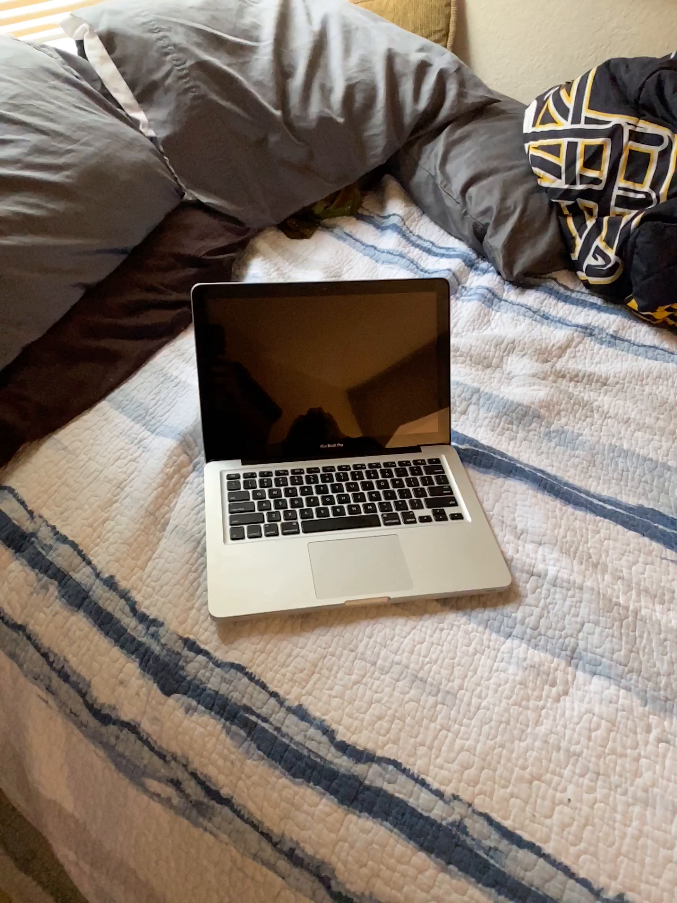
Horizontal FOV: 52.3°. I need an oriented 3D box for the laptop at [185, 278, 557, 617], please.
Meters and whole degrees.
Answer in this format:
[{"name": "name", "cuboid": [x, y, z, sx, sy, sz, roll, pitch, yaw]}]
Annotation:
[{"name": "laptop", "cuboid": [0.005, -0.027, 0.774, 0.320, 0.165, 0.347, -4, 45, -10]}]
